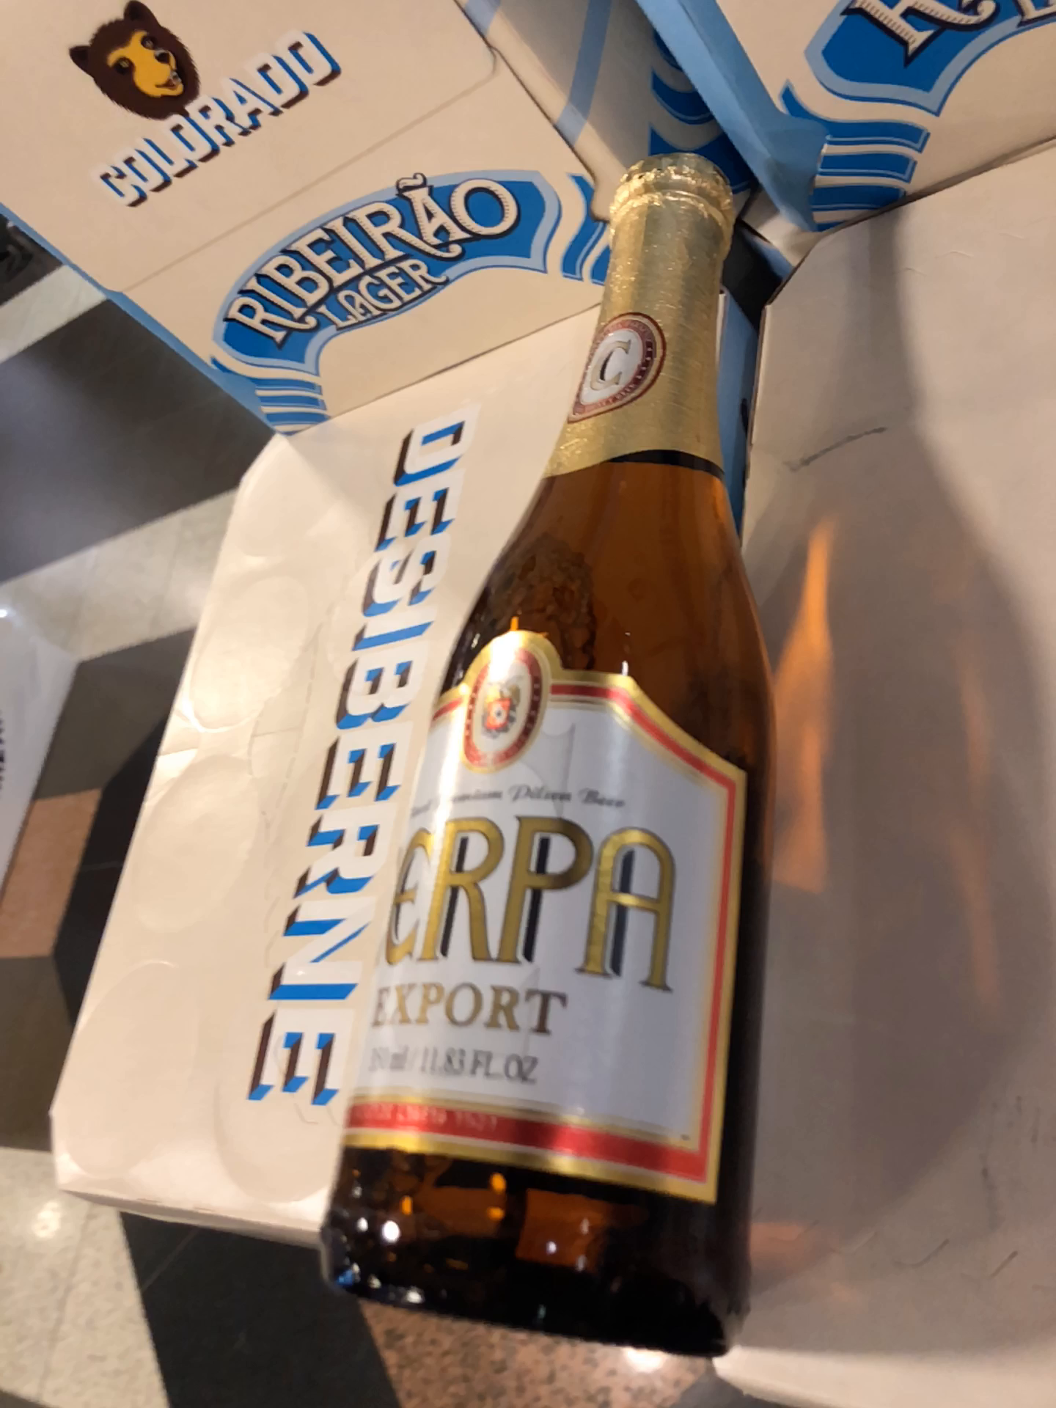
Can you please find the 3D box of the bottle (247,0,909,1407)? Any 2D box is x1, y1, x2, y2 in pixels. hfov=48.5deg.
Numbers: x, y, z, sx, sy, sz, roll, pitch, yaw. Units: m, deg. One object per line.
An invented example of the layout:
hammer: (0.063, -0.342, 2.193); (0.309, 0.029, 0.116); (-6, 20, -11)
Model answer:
bottle: (0.023, -0.015, 0.214); (0.070, 0.060, 0.240); (-10, 60, 37)
